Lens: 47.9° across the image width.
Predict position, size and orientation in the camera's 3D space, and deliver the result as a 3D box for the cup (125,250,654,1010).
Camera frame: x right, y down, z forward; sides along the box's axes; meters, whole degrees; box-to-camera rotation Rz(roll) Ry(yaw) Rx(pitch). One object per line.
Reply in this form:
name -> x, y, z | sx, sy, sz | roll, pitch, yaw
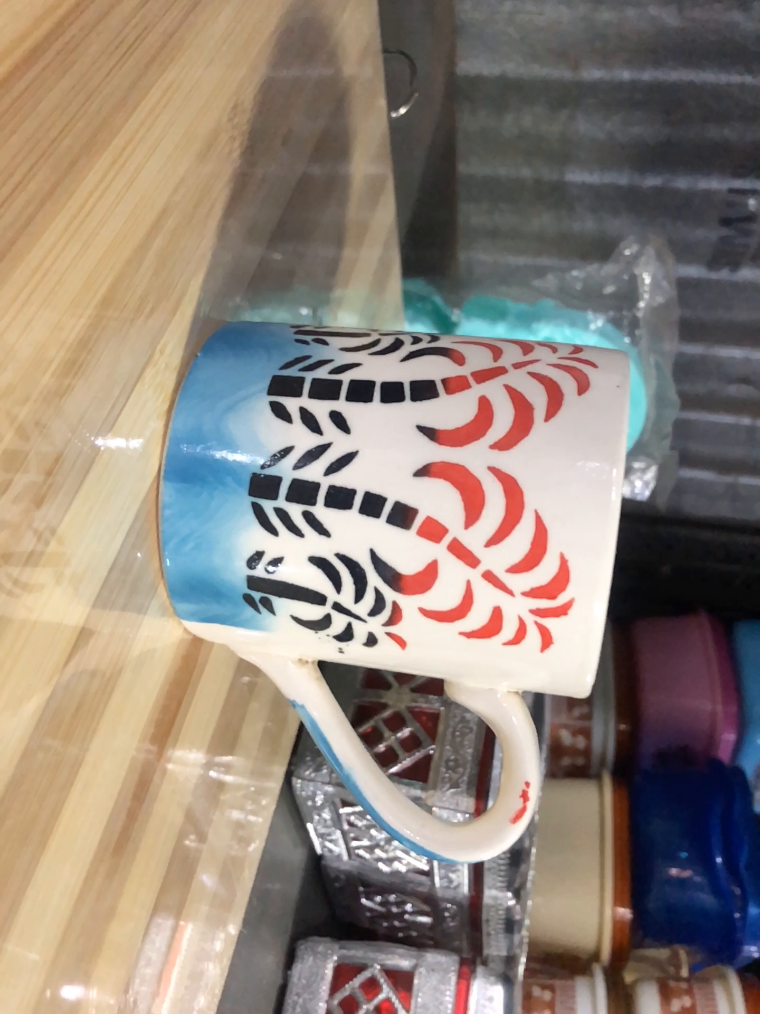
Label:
cup -> 0.008, 0.018, 0.194 | 0.100, 0.080, 0.120 | -7, 102, -80
